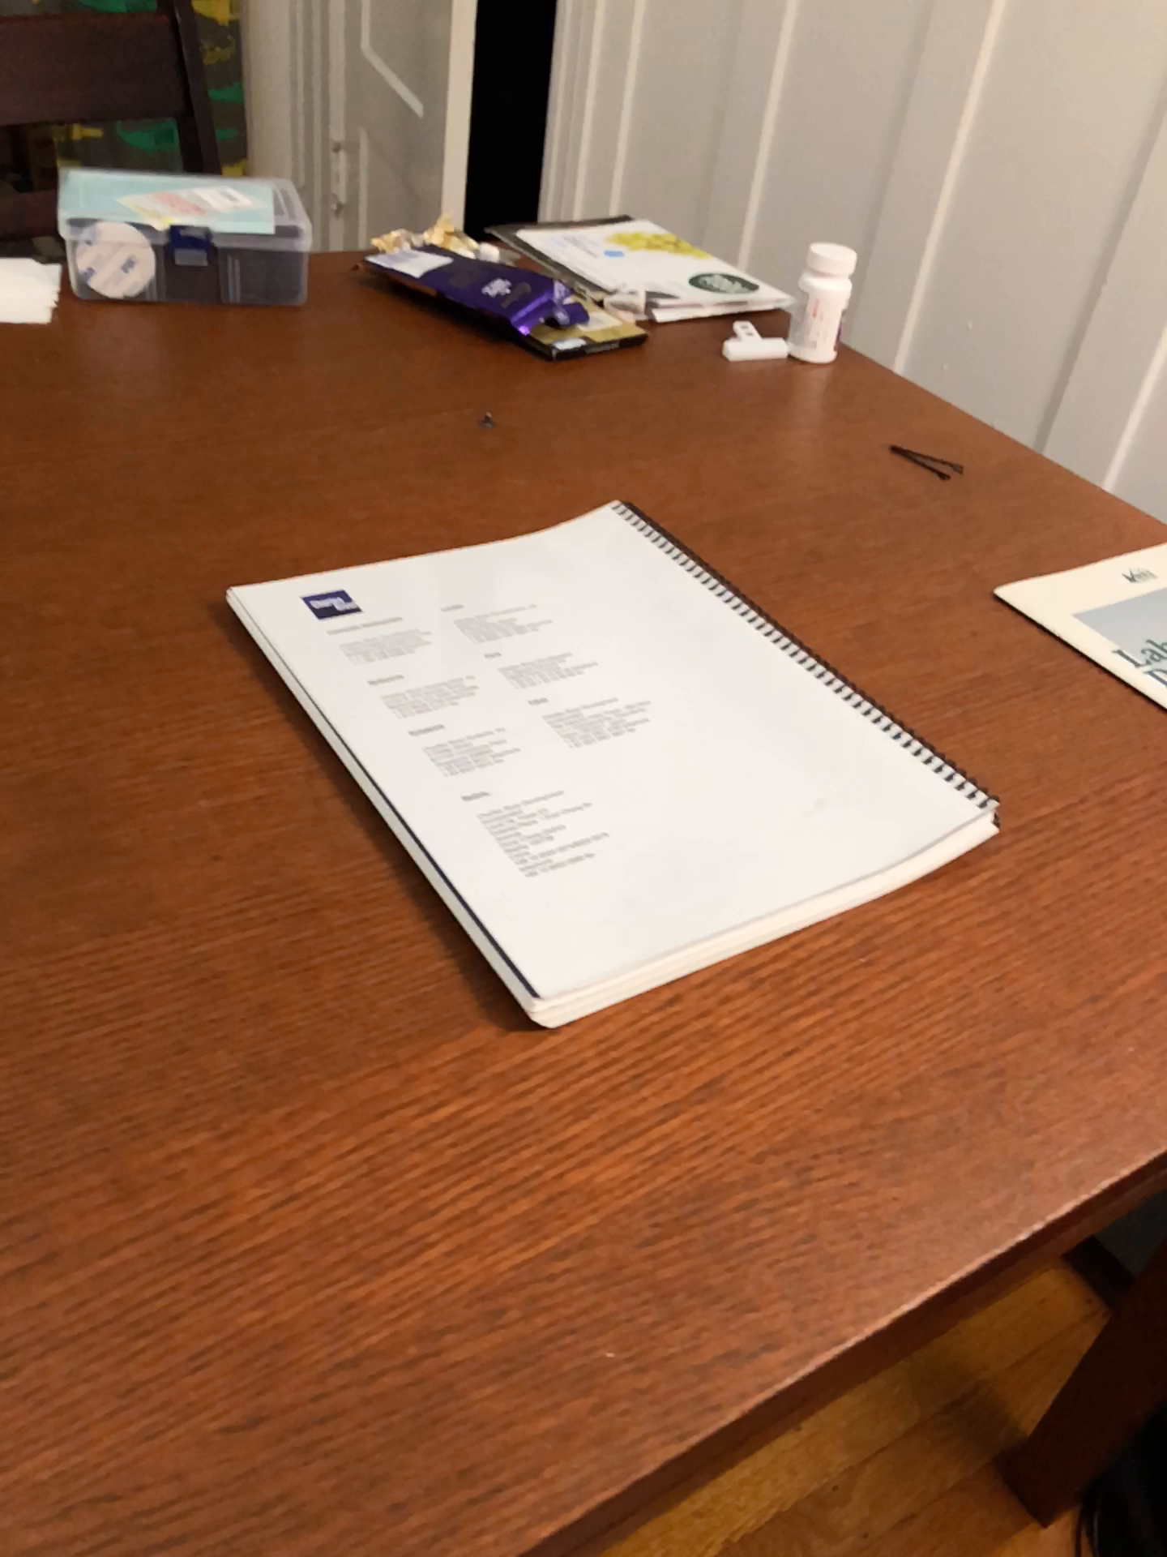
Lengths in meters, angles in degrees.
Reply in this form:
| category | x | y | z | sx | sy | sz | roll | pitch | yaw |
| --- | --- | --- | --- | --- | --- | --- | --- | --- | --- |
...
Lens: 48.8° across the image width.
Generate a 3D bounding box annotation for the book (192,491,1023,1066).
| category | x | y | z | sx | sy | sz | roll | pitch | yaw |
| --- | --- | --- | --- | --- | --- | --- | --- | --- | --- |
| book | -0.003 | -0.032 | 0.555 | 0.231 | 0.020 | 0.301 | -17 | 45 | -29 |
